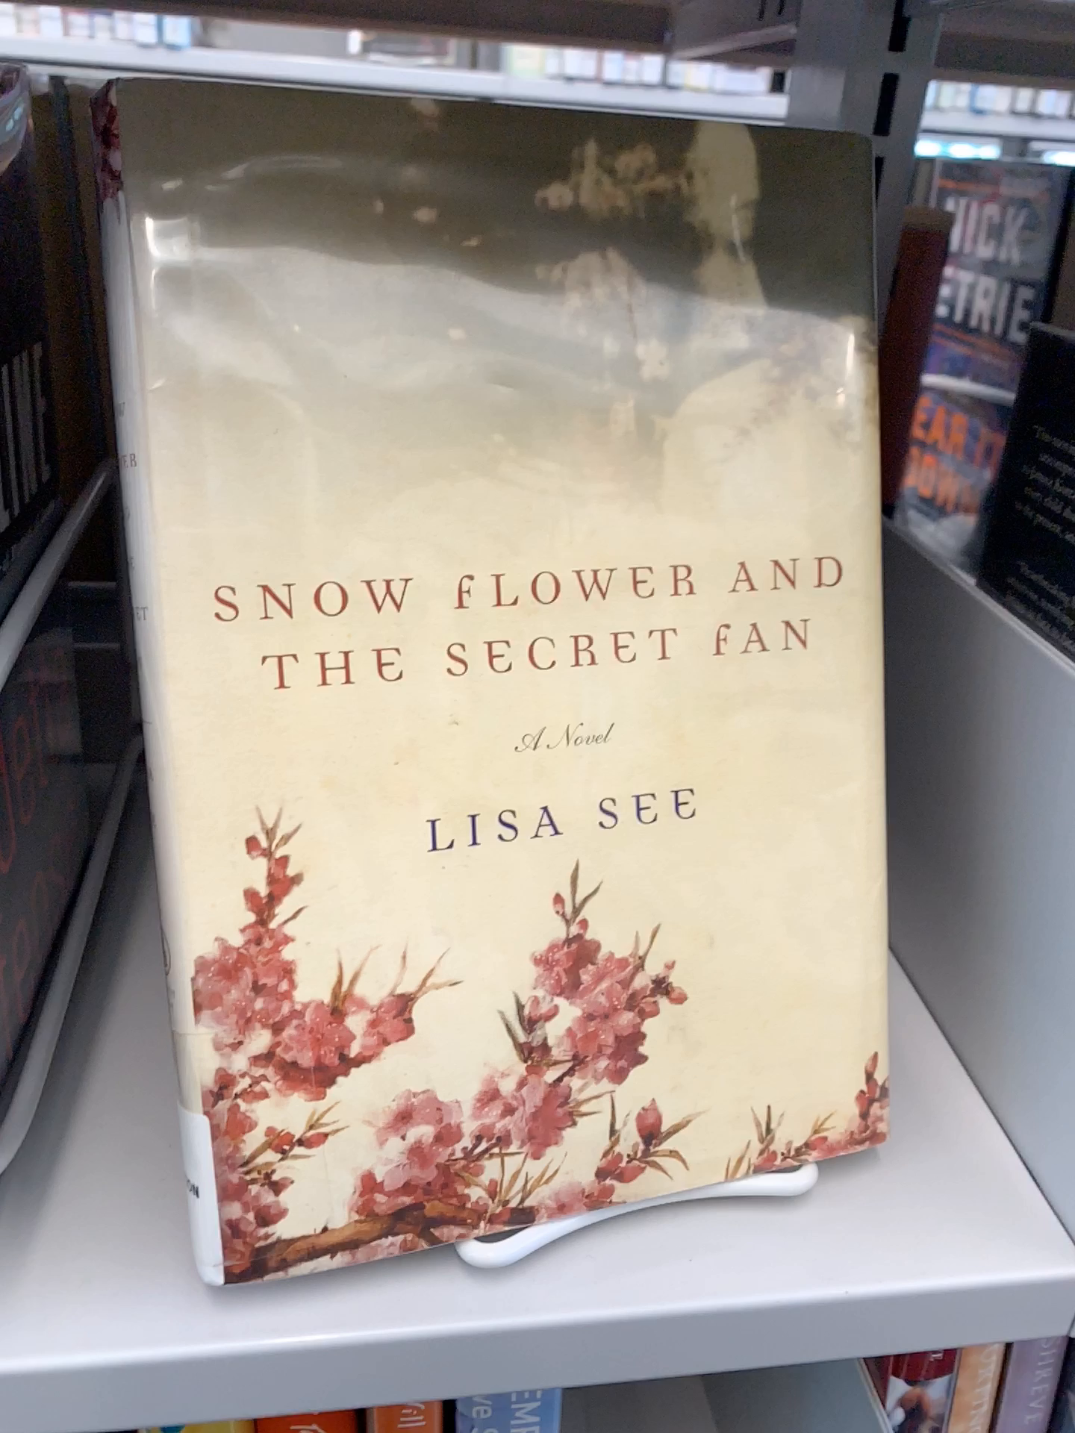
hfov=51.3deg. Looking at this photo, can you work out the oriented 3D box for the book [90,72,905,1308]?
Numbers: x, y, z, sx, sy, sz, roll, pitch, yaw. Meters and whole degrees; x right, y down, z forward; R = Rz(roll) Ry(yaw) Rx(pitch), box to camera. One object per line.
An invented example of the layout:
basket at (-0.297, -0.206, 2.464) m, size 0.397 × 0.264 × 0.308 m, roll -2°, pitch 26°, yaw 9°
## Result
book at (-0.001, -0.007, 0.252) m, size 0.162 × 0.231 × 0.041 m, roll -5°, pitch 7°, yaw -18°
